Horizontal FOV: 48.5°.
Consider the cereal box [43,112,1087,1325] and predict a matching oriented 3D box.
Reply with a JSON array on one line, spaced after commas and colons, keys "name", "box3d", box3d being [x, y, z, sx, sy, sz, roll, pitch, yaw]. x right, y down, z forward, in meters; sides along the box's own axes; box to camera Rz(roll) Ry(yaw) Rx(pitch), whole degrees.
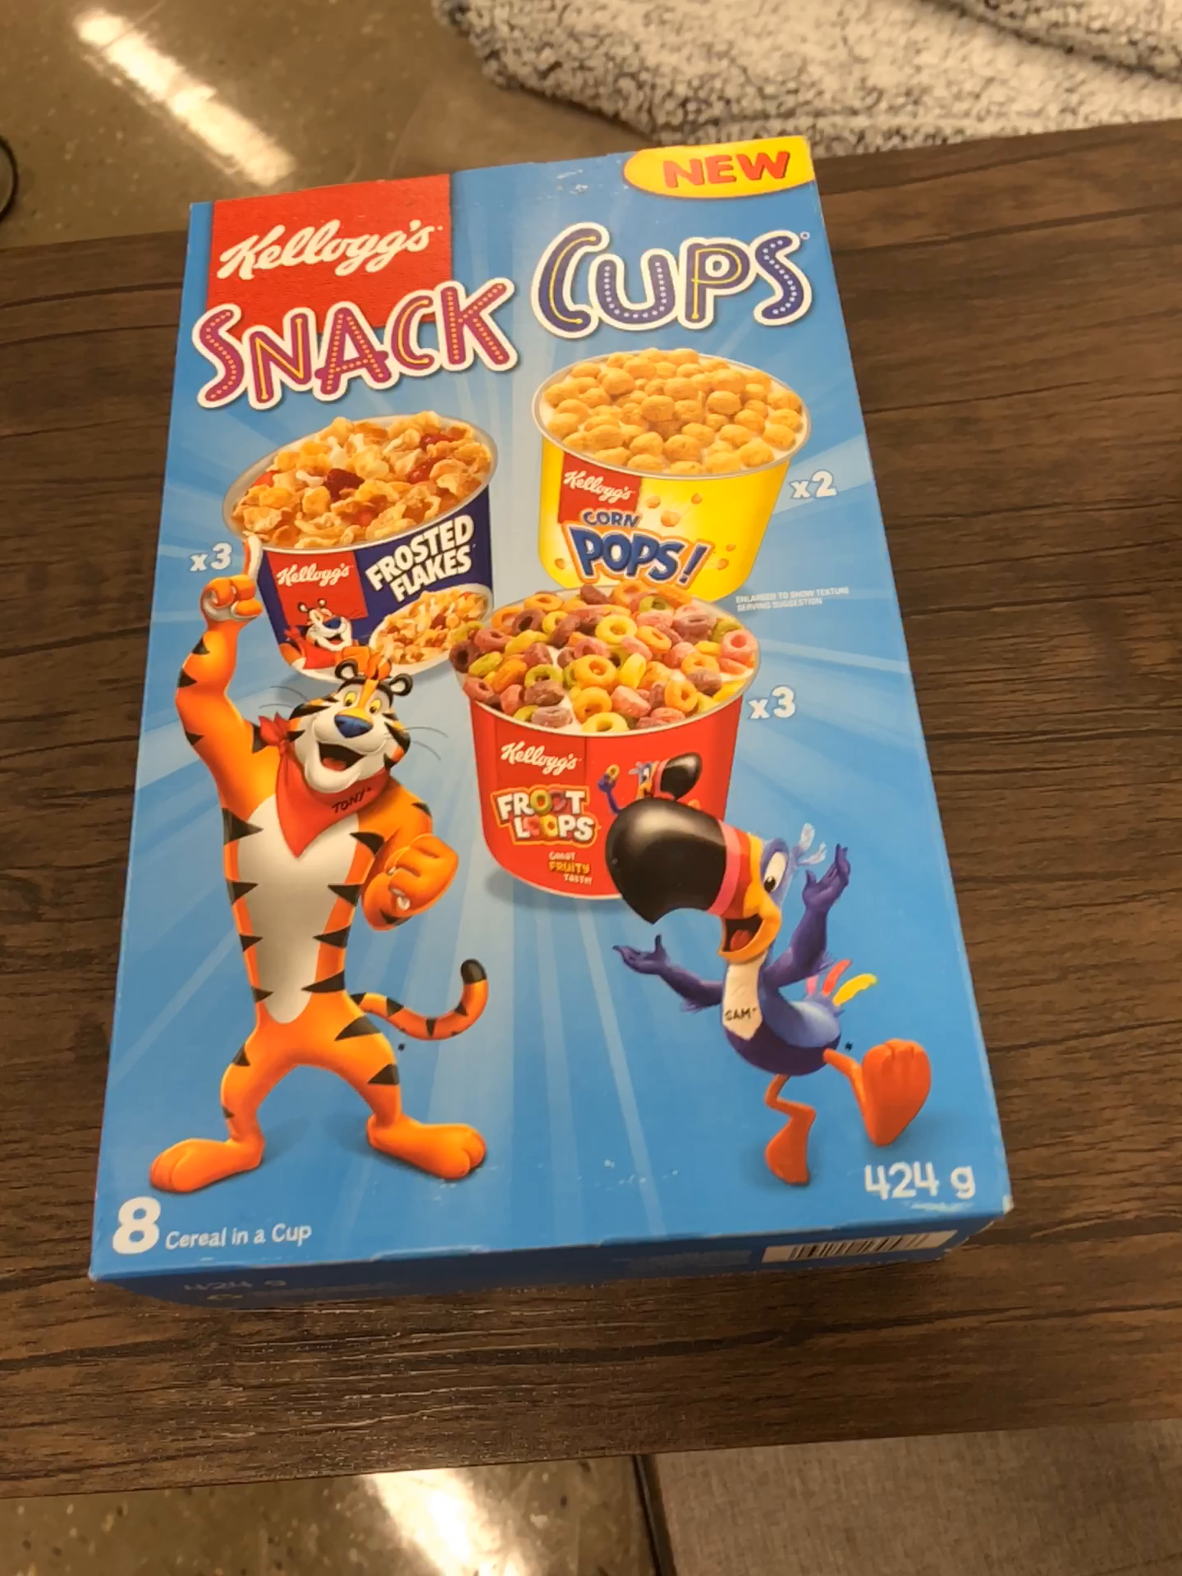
[{"name": "cereal box", "box3d": [-0.014, -0.028, 0.388, 0.220, 0.100, 0.330, -5, 66, 2]}]
